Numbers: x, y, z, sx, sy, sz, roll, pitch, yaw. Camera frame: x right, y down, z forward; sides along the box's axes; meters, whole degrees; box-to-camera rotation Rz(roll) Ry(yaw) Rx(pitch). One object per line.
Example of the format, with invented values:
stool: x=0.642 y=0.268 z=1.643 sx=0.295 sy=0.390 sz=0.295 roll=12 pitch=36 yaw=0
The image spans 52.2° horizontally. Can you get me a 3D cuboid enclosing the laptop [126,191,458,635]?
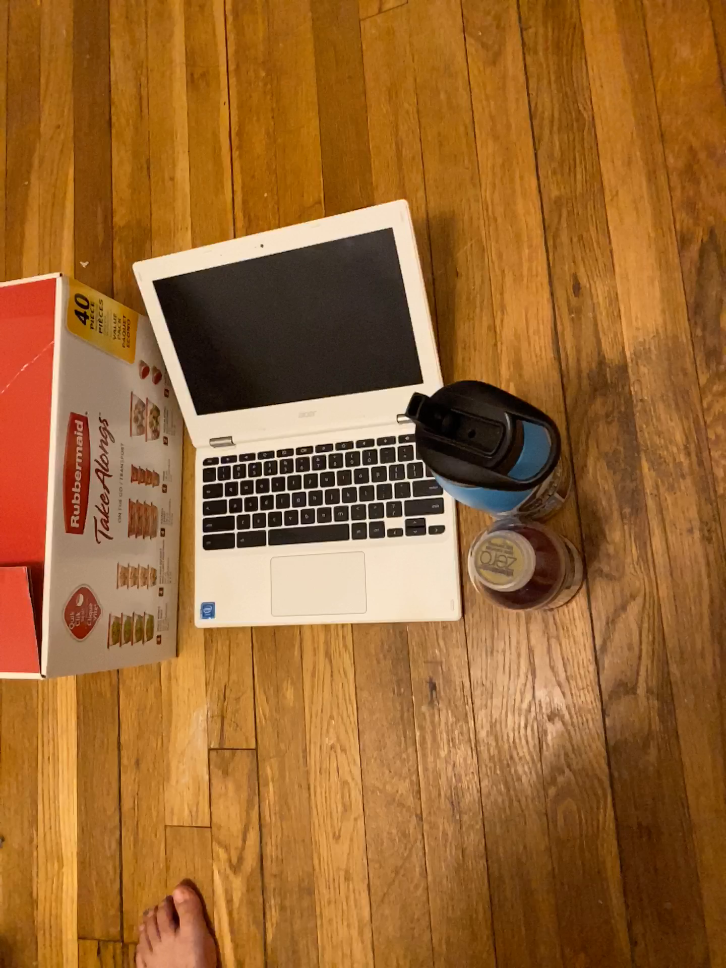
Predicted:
laptop: x=-0.072 y=-0.047 z=0.708 sx=0.289 sy=0.109 sz=0.364 roll=-6 pitch=81 yaw=22
